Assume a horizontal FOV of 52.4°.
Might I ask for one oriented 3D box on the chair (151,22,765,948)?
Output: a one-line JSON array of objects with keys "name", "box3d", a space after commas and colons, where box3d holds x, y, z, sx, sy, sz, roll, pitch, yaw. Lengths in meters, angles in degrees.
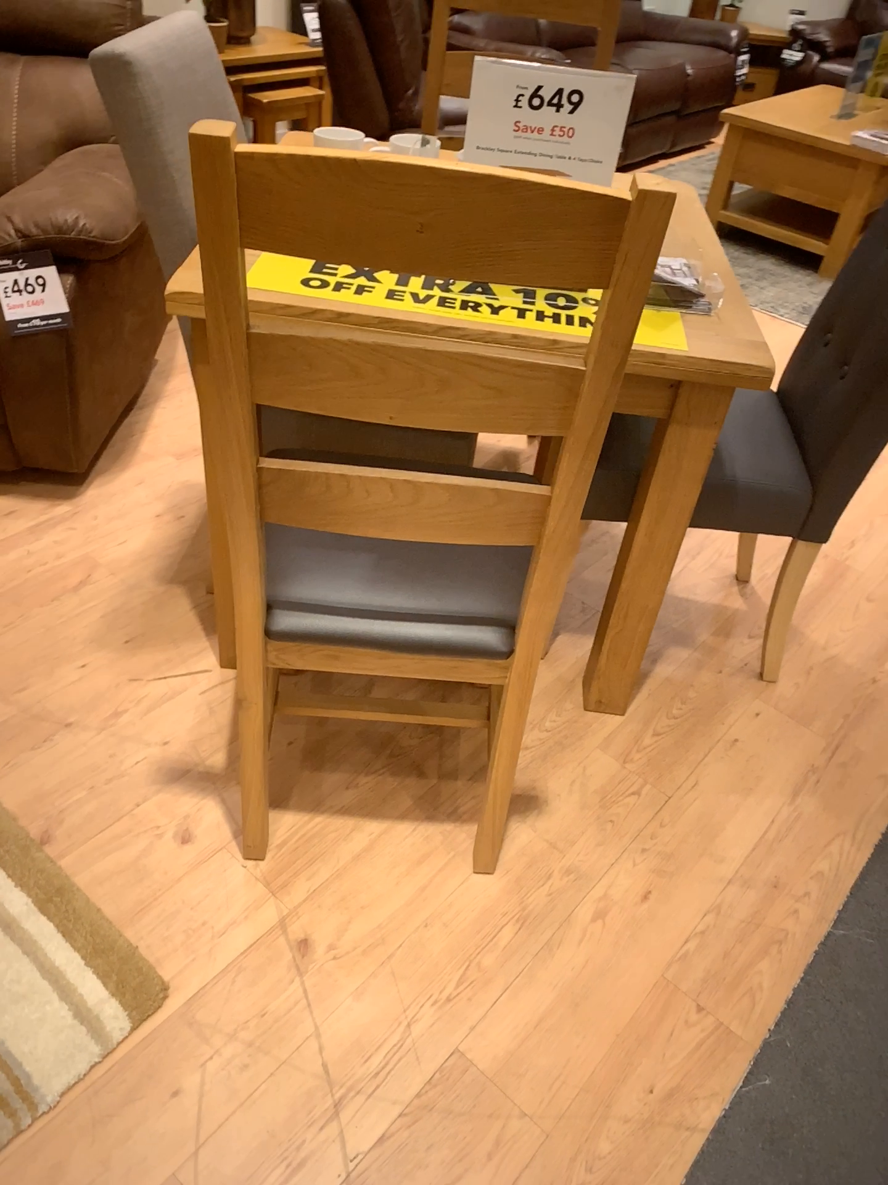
[{"name": "chair", "box3d": [-0.029, -0.075, 1.248, 0.470, 1.099, 0.555, 6, 40, -1]}]
